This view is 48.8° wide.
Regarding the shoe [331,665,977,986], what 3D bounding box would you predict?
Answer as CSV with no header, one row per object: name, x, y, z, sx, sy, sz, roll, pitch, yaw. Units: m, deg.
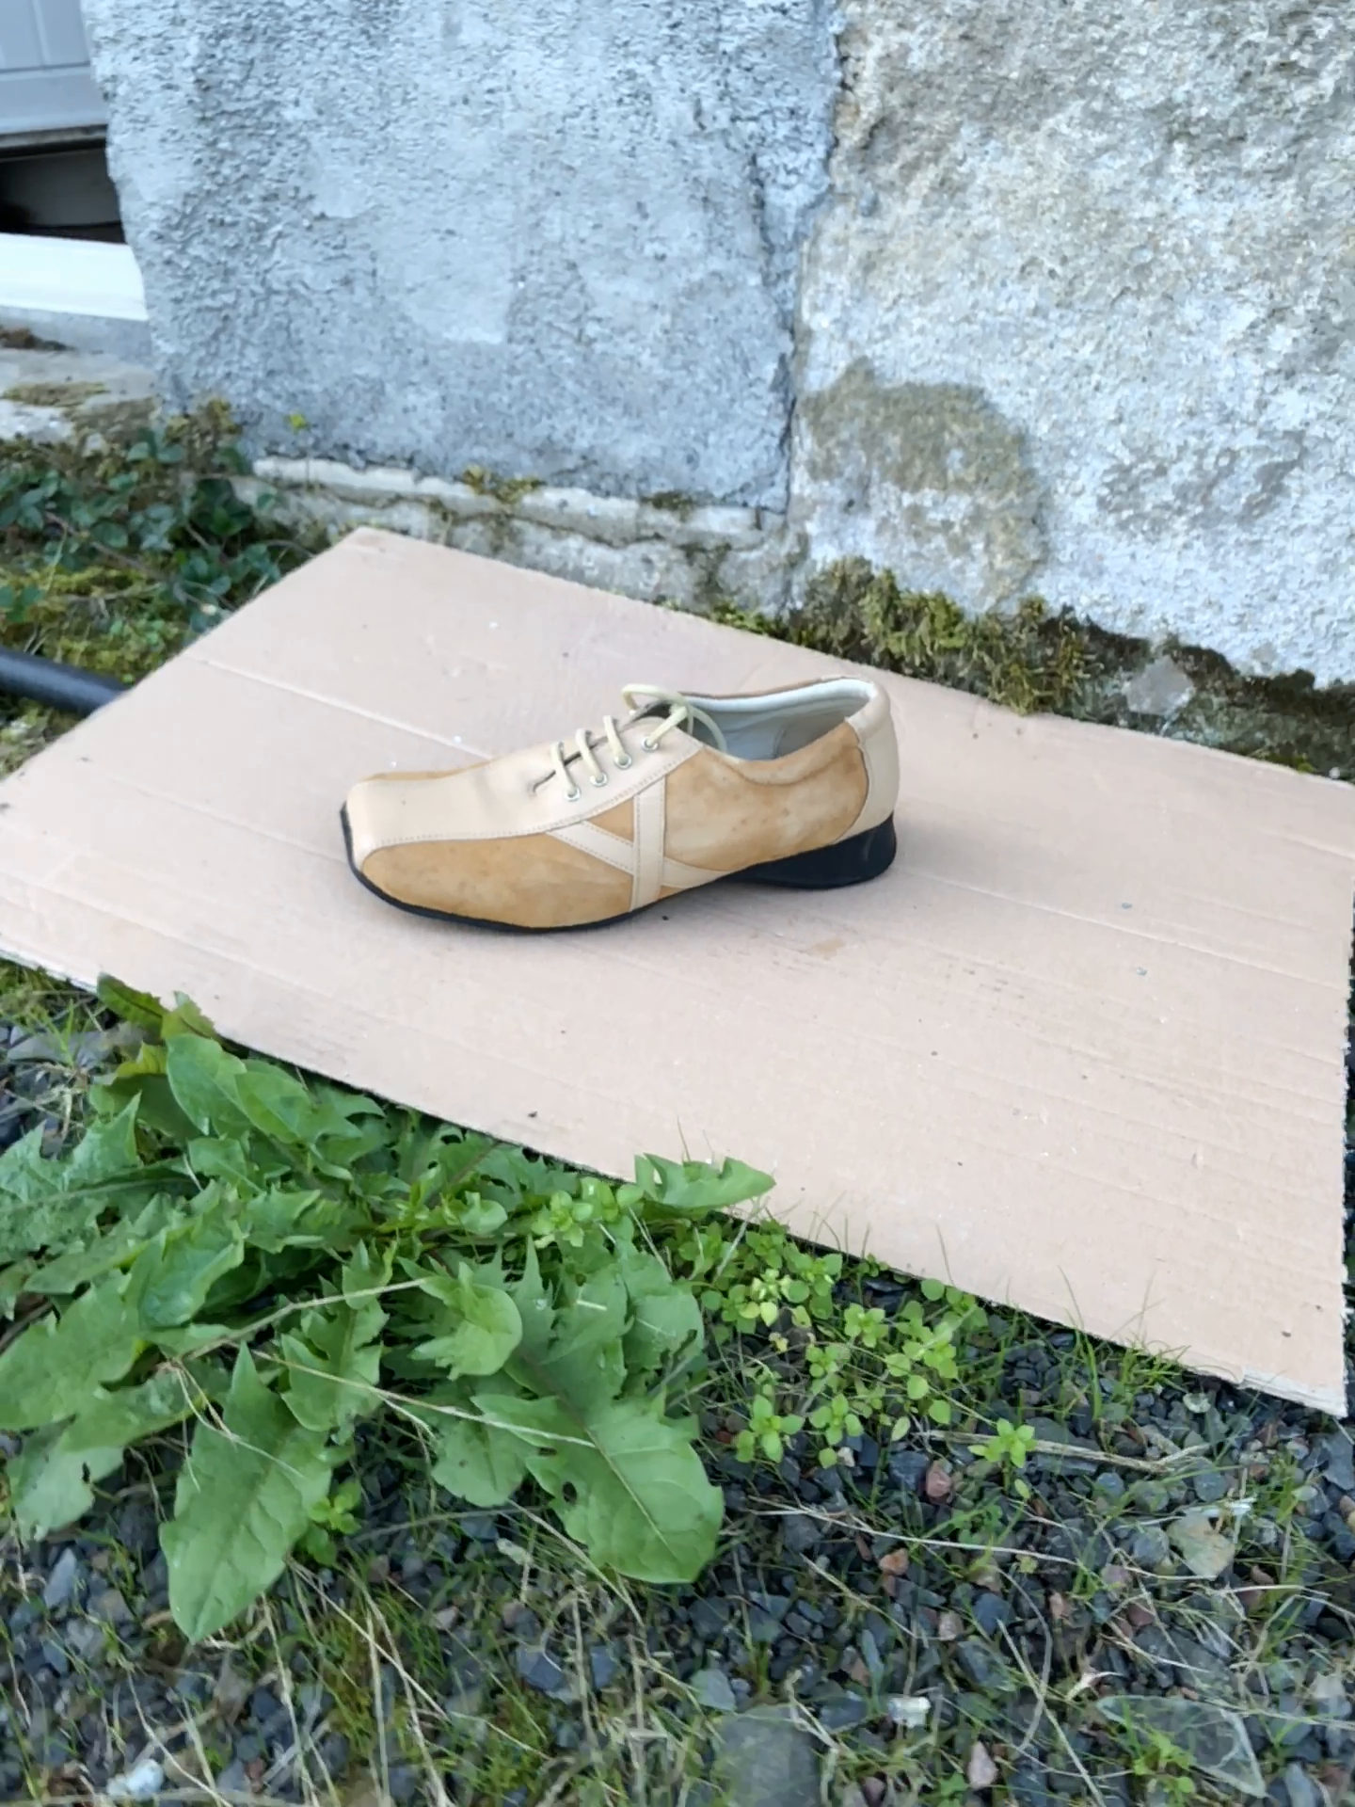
shoe,-0.014,-0.040,0.679,0.270,0.079,0.101,-6,35,-9
